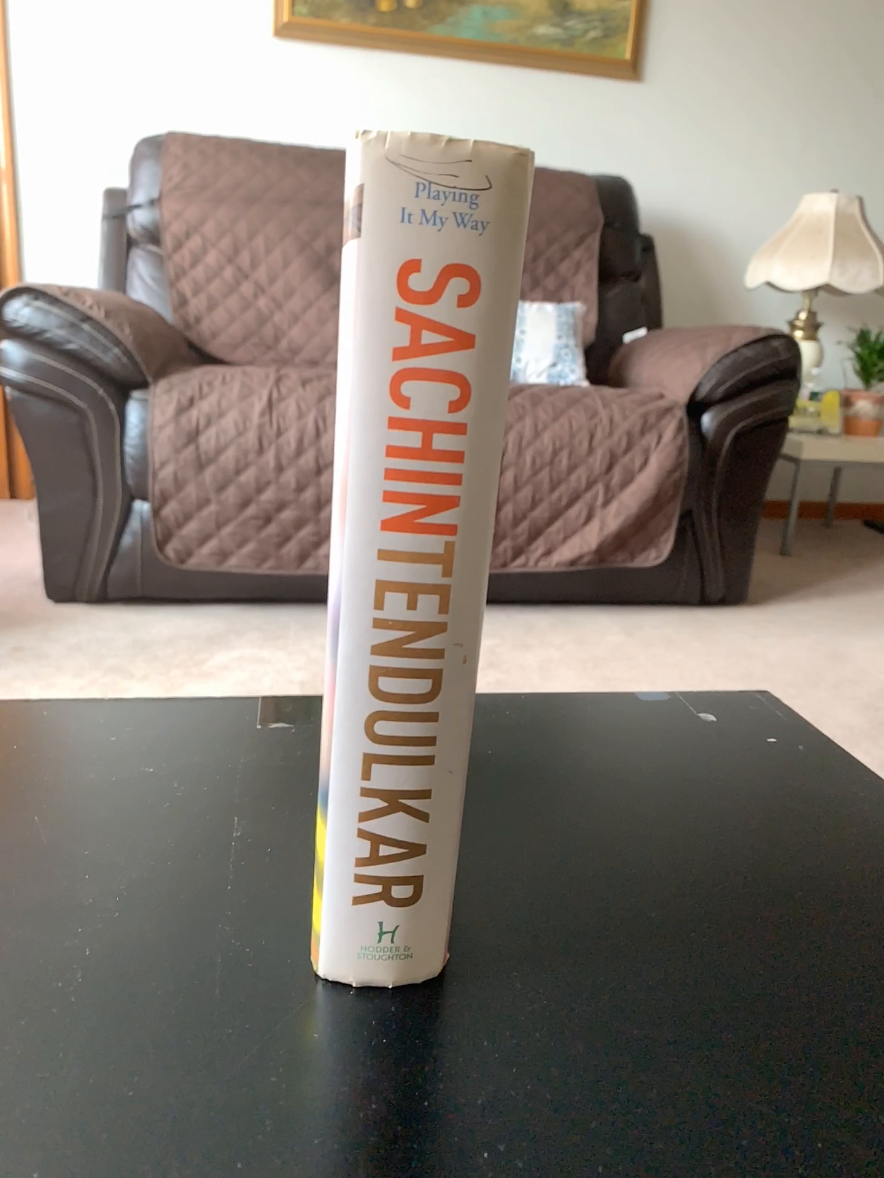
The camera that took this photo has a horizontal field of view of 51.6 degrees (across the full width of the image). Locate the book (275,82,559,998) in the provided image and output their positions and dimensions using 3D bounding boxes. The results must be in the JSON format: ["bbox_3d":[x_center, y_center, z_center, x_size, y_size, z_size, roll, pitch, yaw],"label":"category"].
[{"bbox_3d":[-0.013,-0.020,0.318,0.060,0.239,0.171,3,16,-2],"label":"book"}]
